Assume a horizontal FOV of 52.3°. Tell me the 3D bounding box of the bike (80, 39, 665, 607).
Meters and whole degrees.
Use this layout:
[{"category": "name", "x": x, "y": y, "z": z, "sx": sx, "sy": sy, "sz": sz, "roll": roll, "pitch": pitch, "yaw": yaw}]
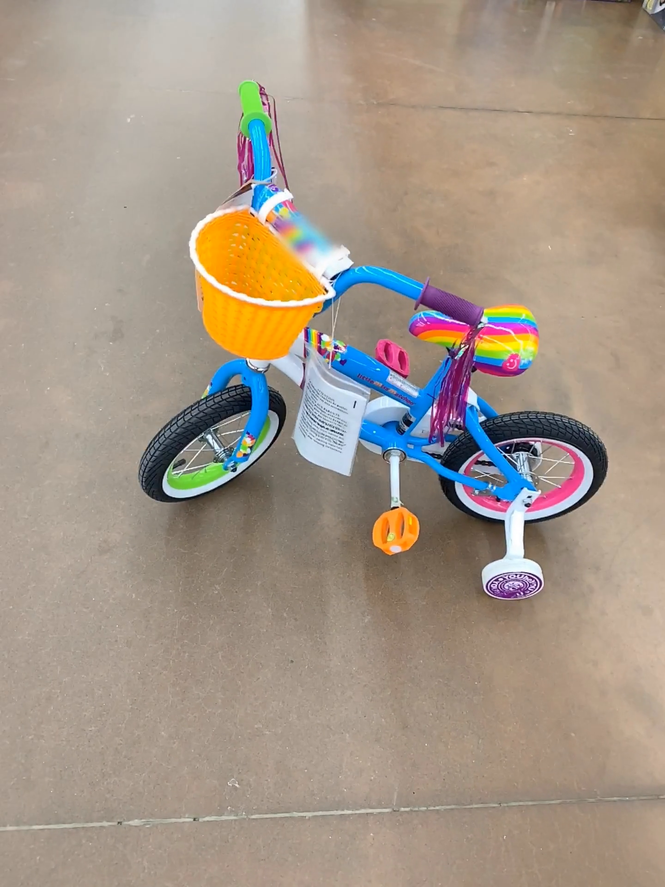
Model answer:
[{"category": "bike", "x": 0.103, "y": -0.149, "z": 1.118, "sx": 0.816, "sy": 0.663, "sz": 0.555, "roll": 0, "pitch": 48, "yaw": -9}]
